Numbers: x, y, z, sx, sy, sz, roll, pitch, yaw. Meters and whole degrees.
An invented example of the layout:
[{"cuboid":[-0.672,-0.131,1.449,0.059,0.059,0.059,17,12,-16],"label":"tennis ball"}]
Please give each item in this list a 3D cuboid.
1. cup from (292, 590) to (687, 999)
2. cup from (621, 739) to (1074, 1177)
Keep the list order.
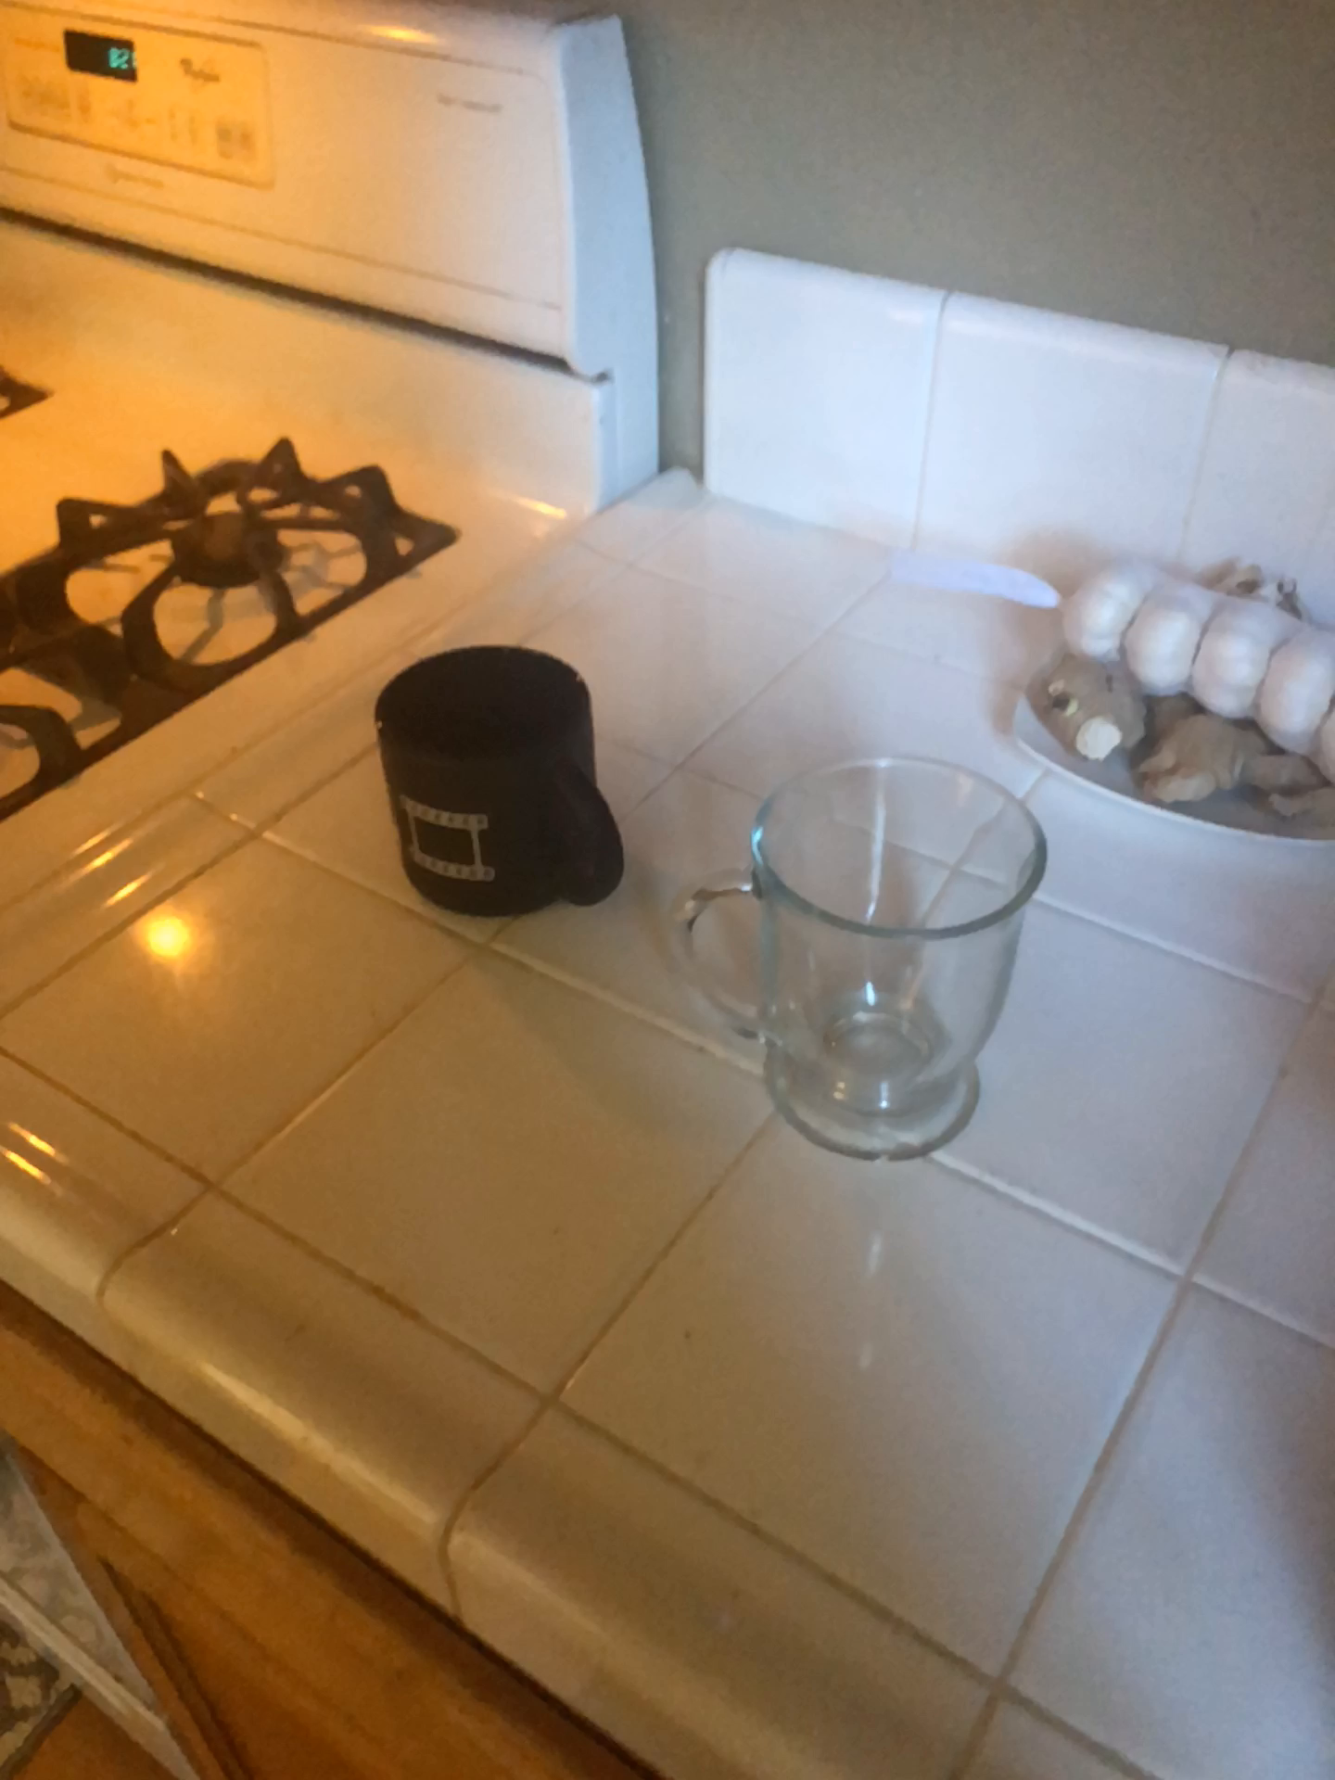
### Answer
[{"cuboid":[-0.073,-0.045,0.619,0.101,0.089,0.130,-30,48,-29],"label":"cup"},{"cuboid":[0.062,0.023,0.531,0.140,0.109,0.101,4,41,6],"label":"cup"}]
